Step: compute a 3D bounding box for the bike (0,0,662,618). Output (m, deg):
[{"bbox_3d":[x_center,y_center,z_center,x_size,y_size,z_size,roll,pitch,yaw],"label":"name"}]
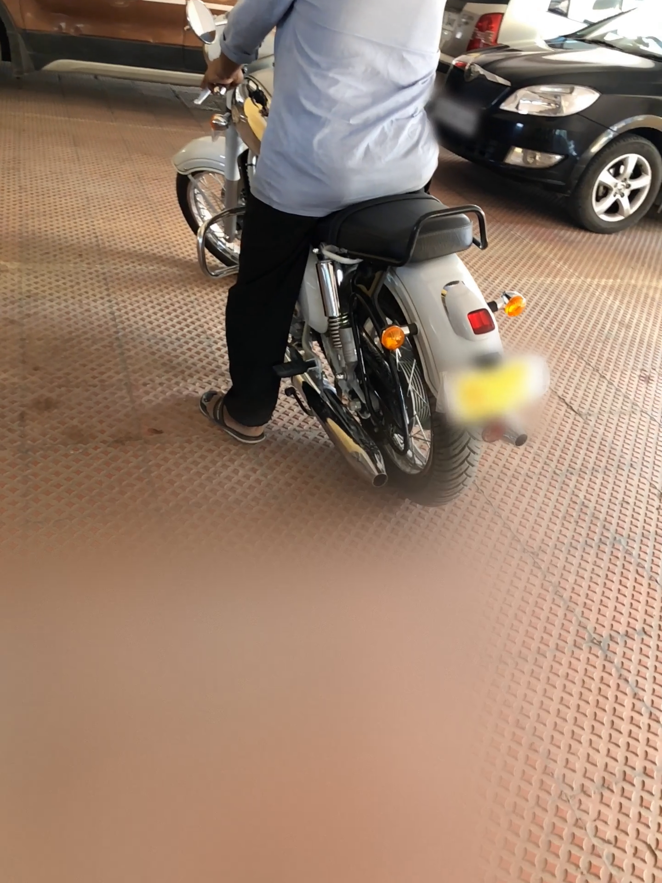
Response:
[{"bbox_3d":[-0.262,-0.705,2.052,0.847,1.233,1.904,-10,40,-29],"label":"bike"}]
